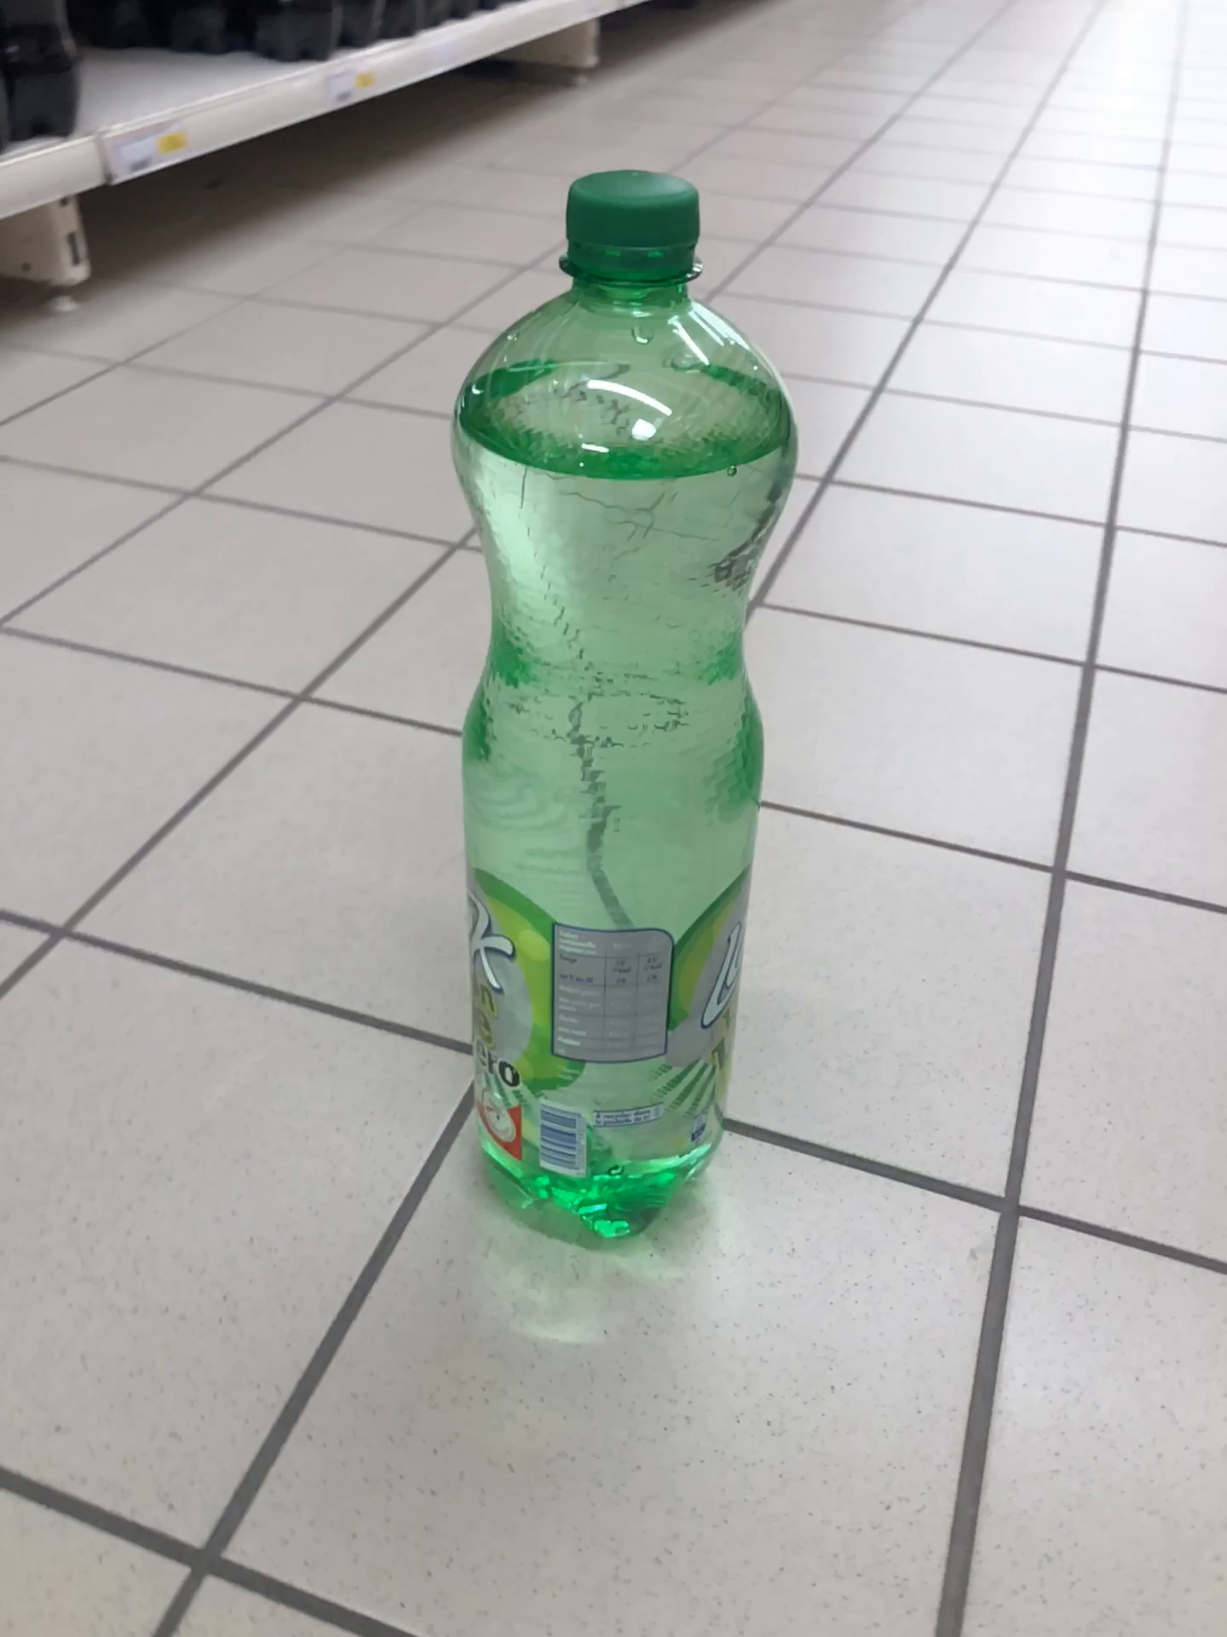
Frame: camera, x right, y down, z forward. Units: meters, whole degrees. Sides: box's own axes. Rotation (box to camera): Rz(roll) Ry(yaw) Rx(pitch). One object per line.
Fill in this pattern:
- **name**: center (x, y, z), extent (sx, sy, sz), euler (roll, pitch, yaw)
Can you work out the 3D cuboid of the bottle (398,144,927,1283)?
- **bottle**: center (0.003, -0.008, 0.390), extent (0.100, 0.318, 0.101), euler (1, 36, -1)
